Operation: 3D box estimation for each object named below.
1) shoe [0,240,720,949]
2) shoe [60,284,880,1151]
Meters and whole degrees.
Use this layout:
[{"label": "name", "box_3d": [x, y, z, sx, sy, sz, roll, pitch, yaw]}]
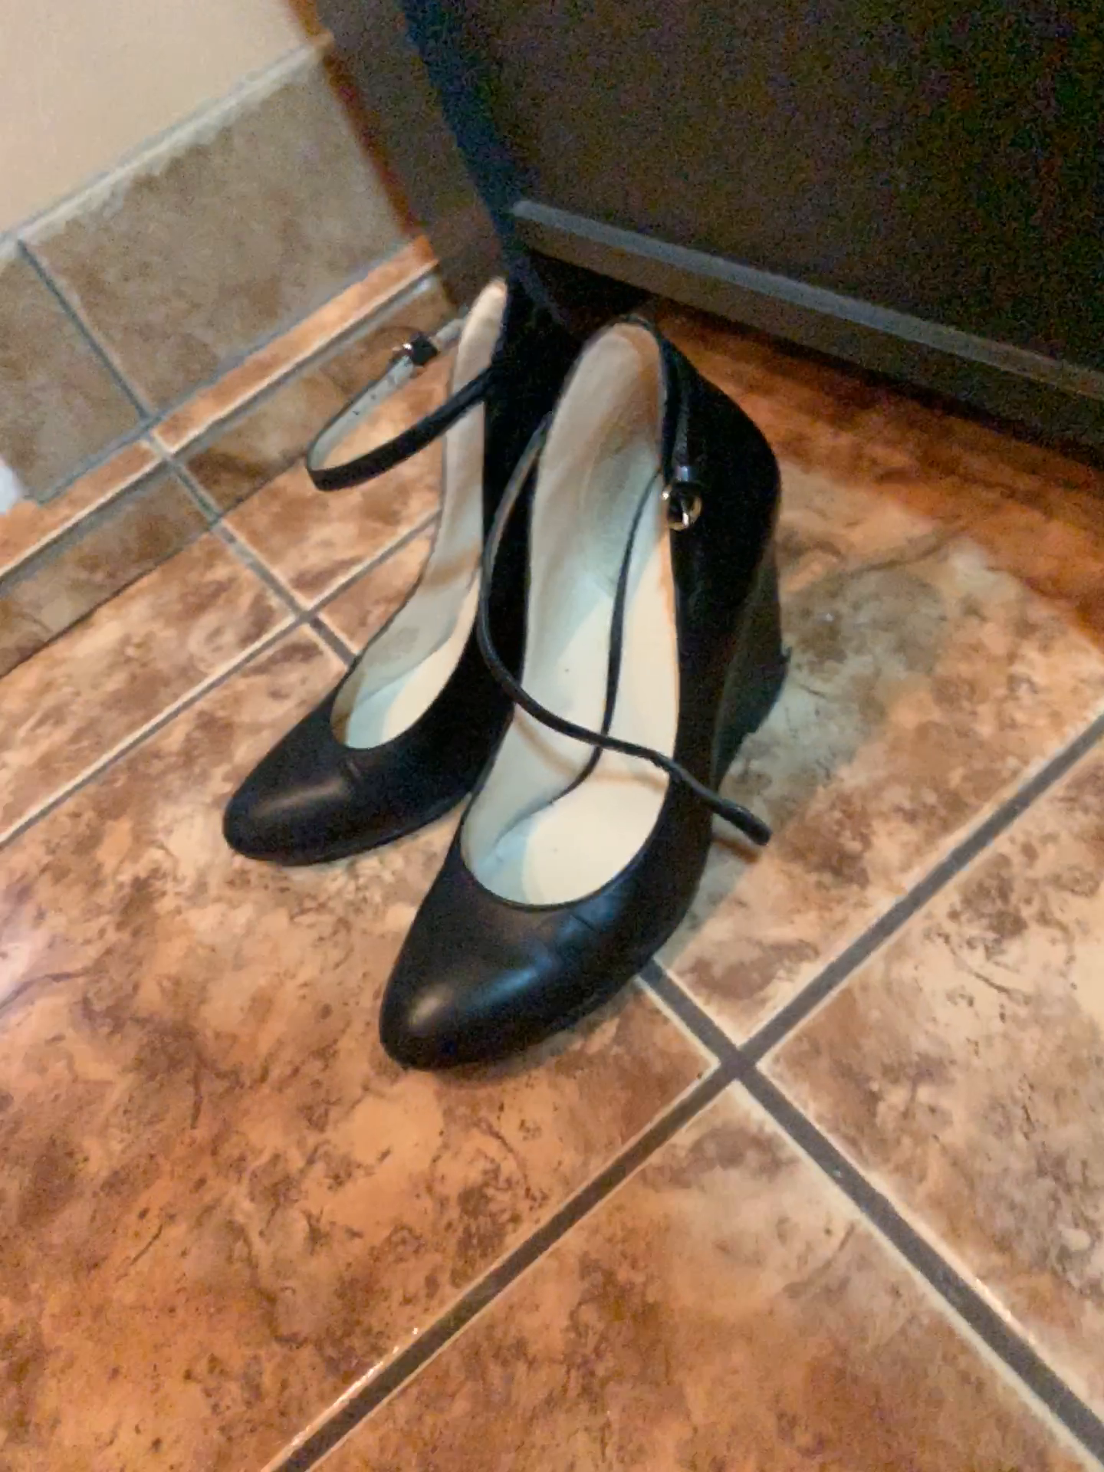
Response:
[{"label": "shoe", "box_3d": [-0.059, -0.047, 0.420, 0.200, 0.159, 0.079, -37, 45, -7]}, {"label": "shoe", "box_3d": [-0.006, -0.010, 0.347, 0.087, 0.140, 0.210, 26, 67, 40]}]
